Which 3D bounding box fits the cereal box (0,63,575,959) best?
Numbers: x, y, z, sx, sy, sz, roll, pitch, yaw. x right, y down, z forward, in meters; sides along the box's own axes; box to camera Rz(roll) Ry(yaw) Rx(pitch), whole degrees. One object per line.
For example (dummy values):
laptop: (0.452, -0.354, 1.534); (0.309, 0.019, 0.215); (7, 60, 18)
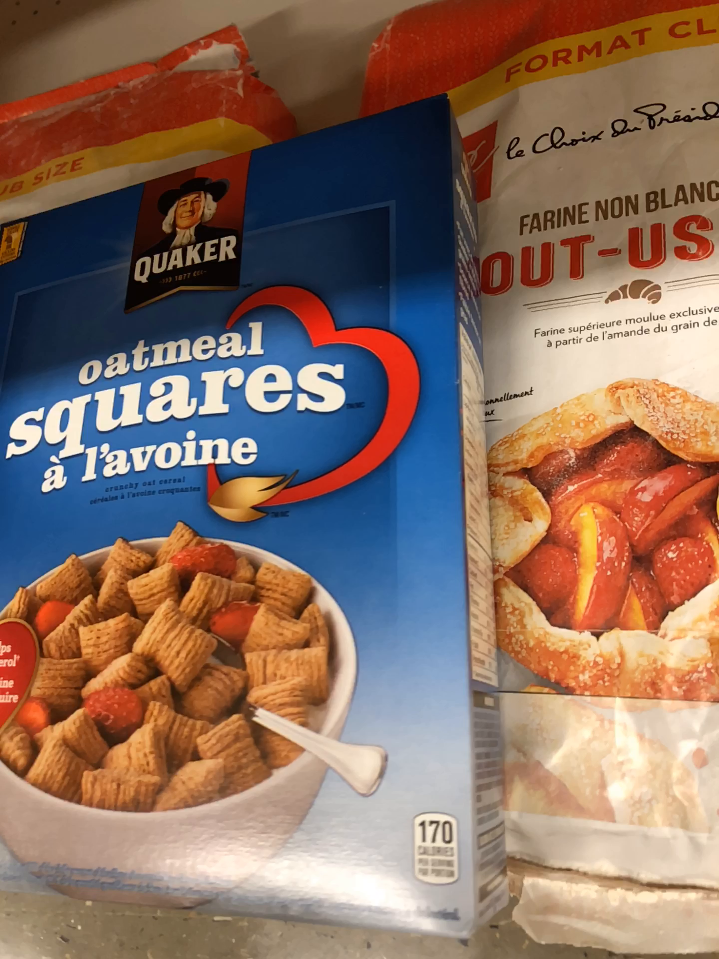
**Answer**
cereal box: (-0.040, 0.004, 0.300); (0.210, 0.060, 0.280); (-7, 69, 21)
